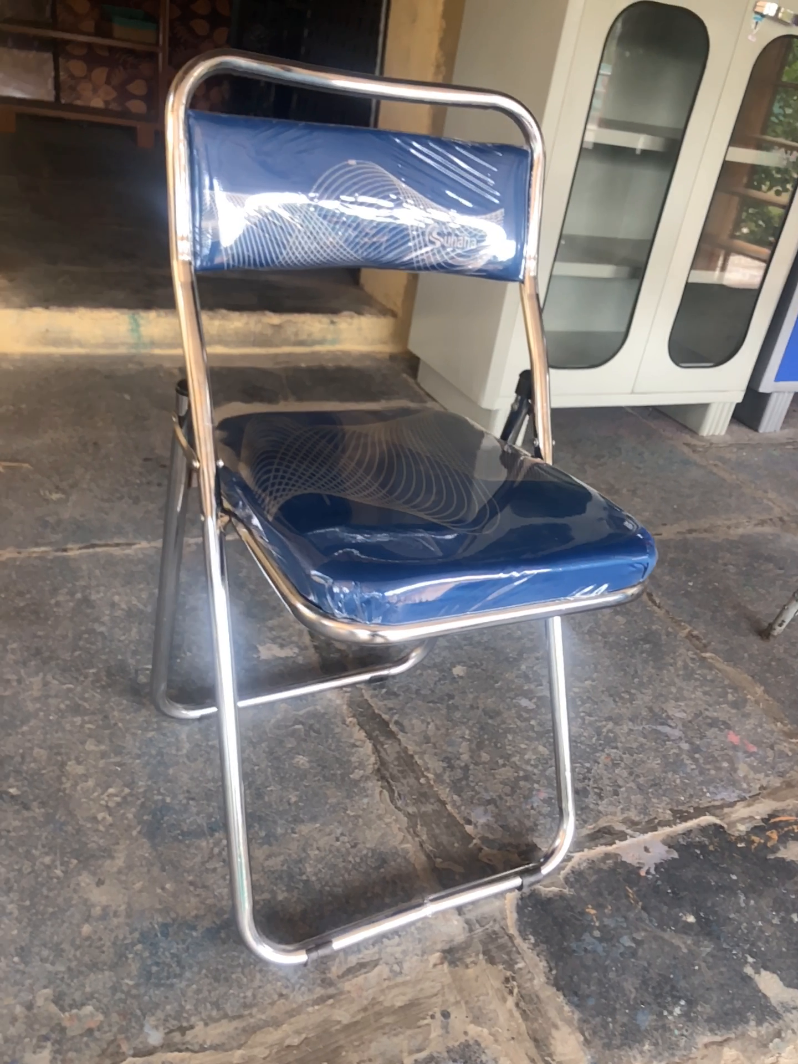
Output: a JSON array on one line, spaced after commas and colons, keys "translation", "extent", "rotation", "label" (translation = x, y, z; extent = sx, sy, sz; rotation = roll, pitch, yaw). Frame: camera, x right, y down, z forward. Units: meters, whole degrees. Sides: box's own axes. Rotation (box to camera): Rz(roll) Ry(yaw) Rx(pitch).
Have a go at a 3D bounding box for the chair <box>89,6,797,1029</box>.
[{"translation": [-0.008, -0.045, 0.934], "extent": [0.502, 0.806, 0.511], "rotation": [-7, 32, -28], "label": "chair"}]
